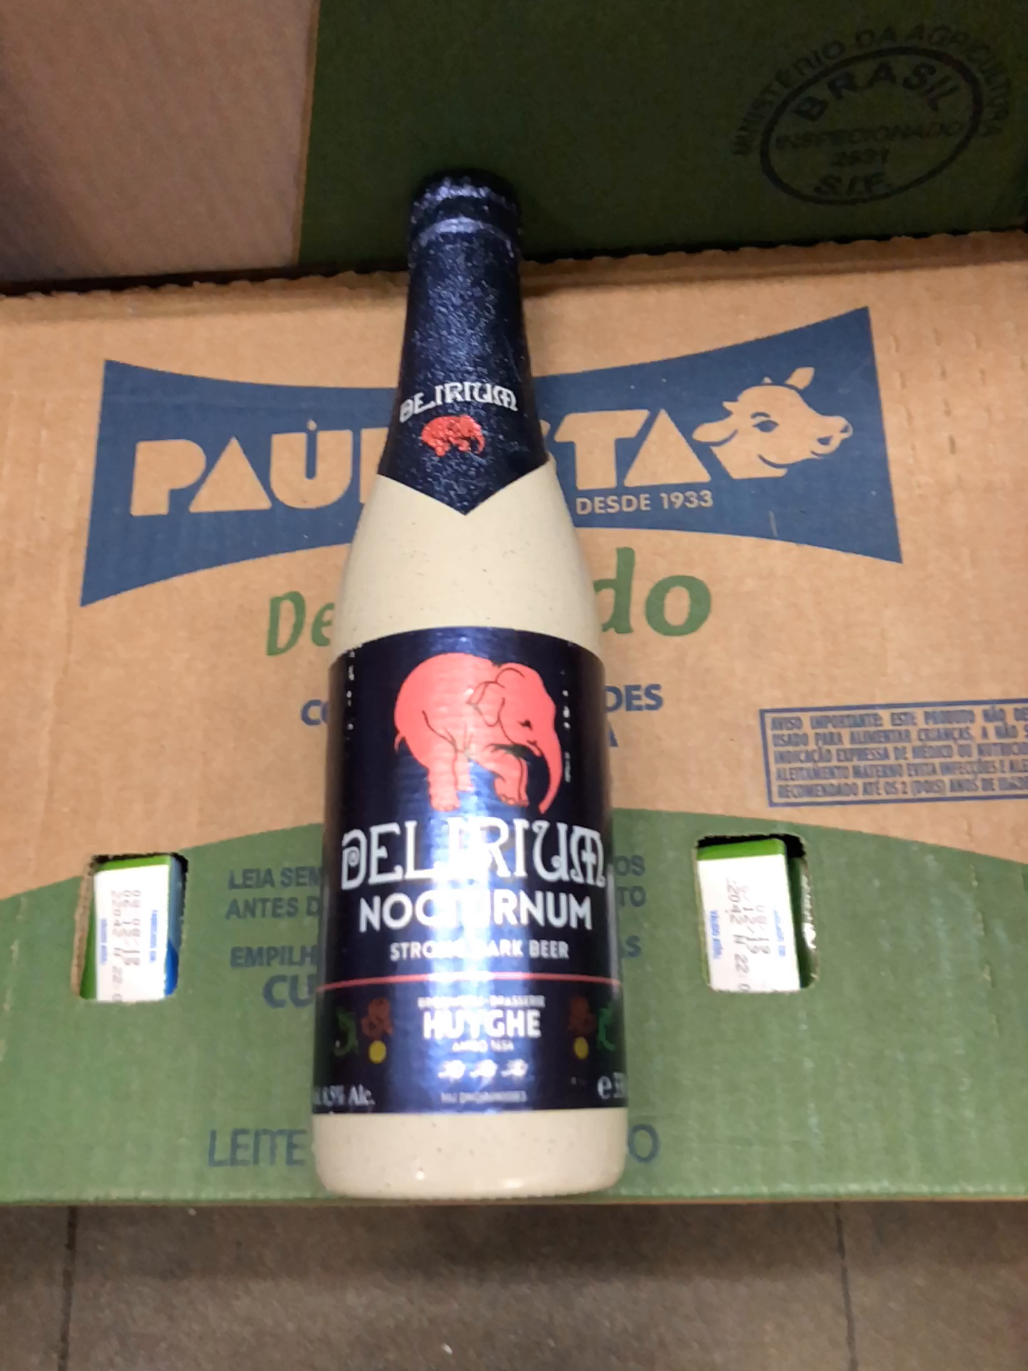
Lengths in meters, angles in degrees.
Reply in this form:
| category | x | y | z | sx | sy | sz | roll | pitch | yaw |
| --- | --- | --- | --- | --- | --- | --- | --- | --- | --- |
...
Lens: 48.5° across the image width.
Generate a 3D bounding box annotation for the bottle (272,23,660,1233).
| category | x | y | z | sx | sy | sz | roll | pitch | yaw |
| --- | --- | --- | --- | --- | --- | --- | --- | --- | --- |
| bottle | -0.008 | -0.025 | 0.243 | 0.060 | 0.050 | 0.251 | -2 | 69 | 3 |
